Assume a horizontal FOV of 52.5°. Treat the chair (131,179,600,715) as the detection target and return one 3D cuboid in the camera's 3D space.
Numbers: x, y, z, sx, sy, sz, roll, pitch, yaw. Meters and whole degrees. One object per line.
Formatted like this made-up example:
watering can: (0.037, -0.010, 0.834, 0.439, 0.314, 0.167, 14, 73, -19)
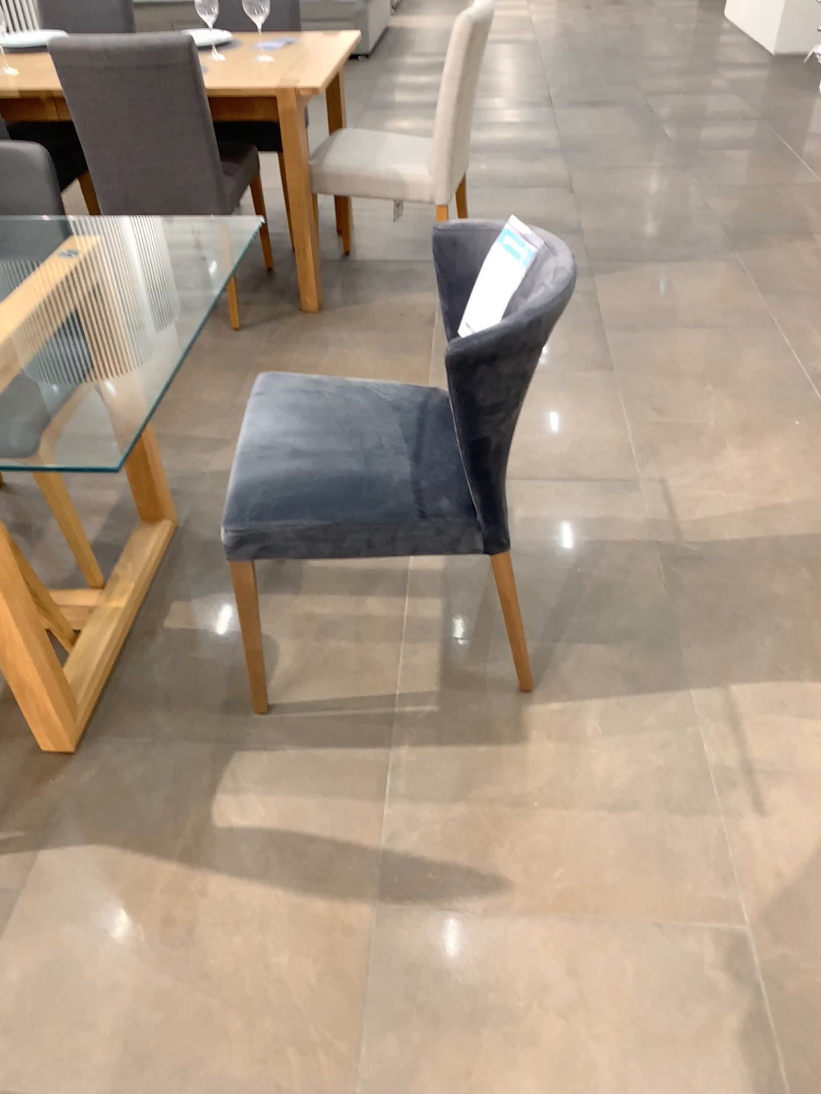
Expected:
chair: (-0.046, -0.174, 1.566, 0.613, 0.805, 0.583, -1, 40, 2)
